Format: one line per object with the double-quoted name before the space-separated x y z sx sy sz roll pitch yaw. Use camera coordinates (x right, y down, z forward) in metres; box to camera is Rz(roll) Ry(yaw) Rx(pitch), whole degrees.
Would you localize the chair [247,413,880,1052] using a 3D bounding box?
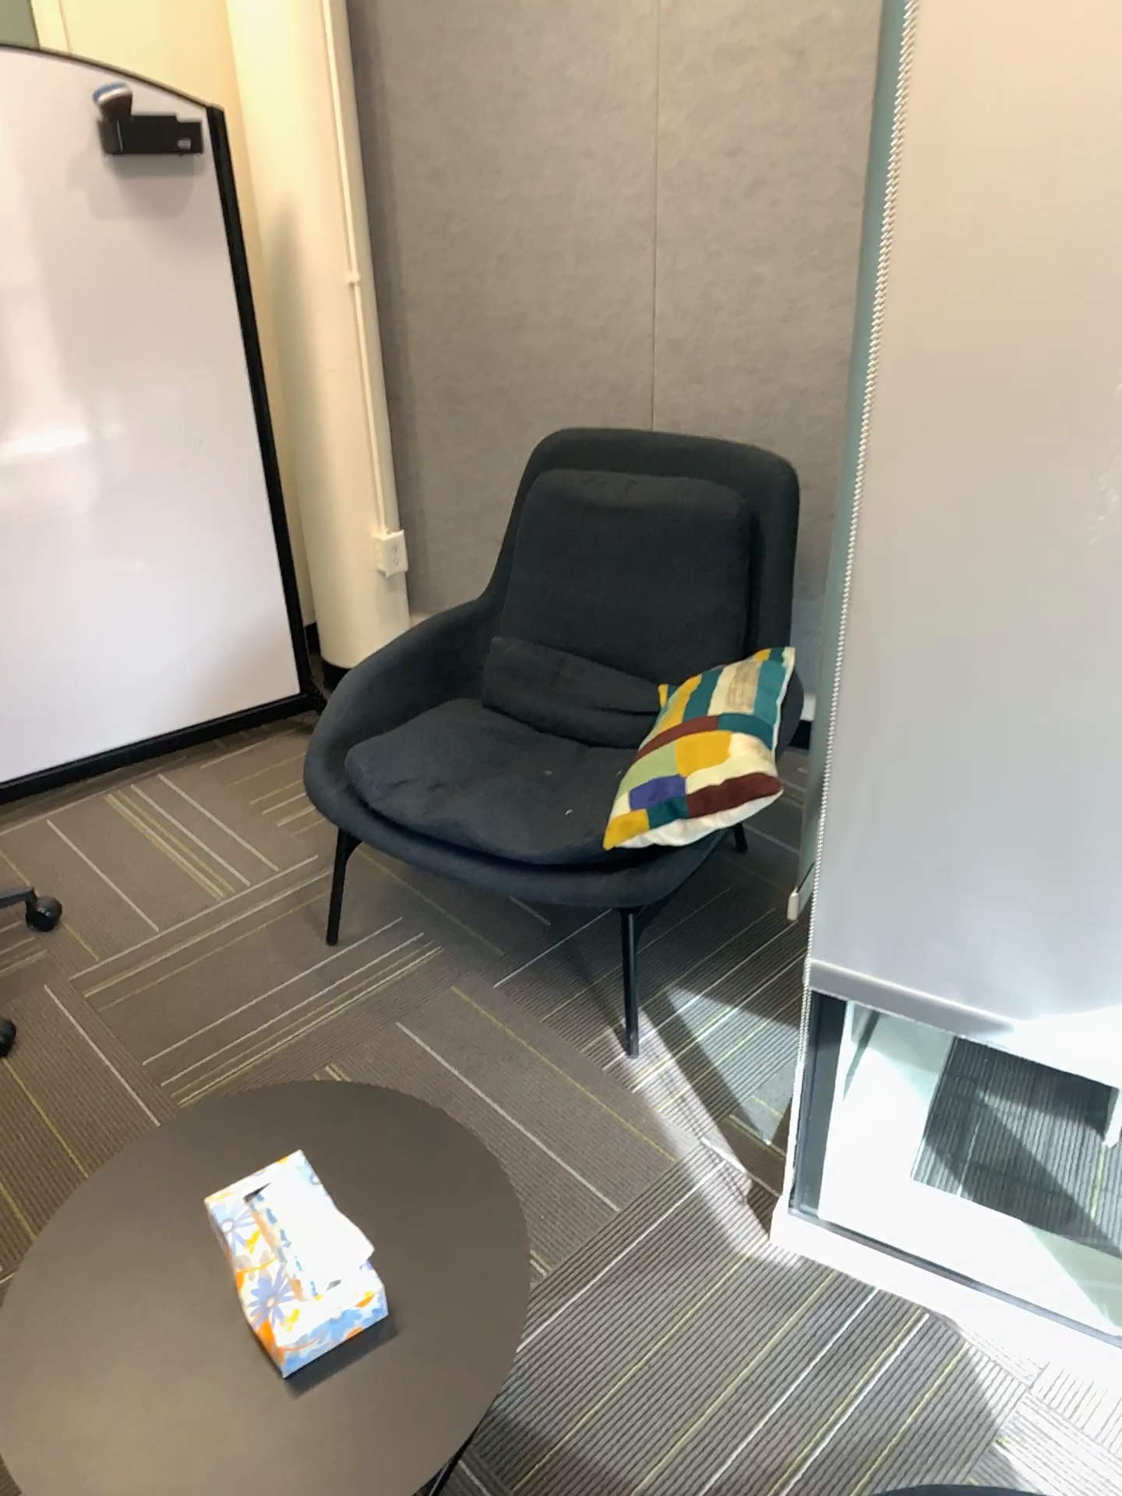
"chair" 0.058 -0.130 2.401 0.792 0.815 1.003 18 35 30
